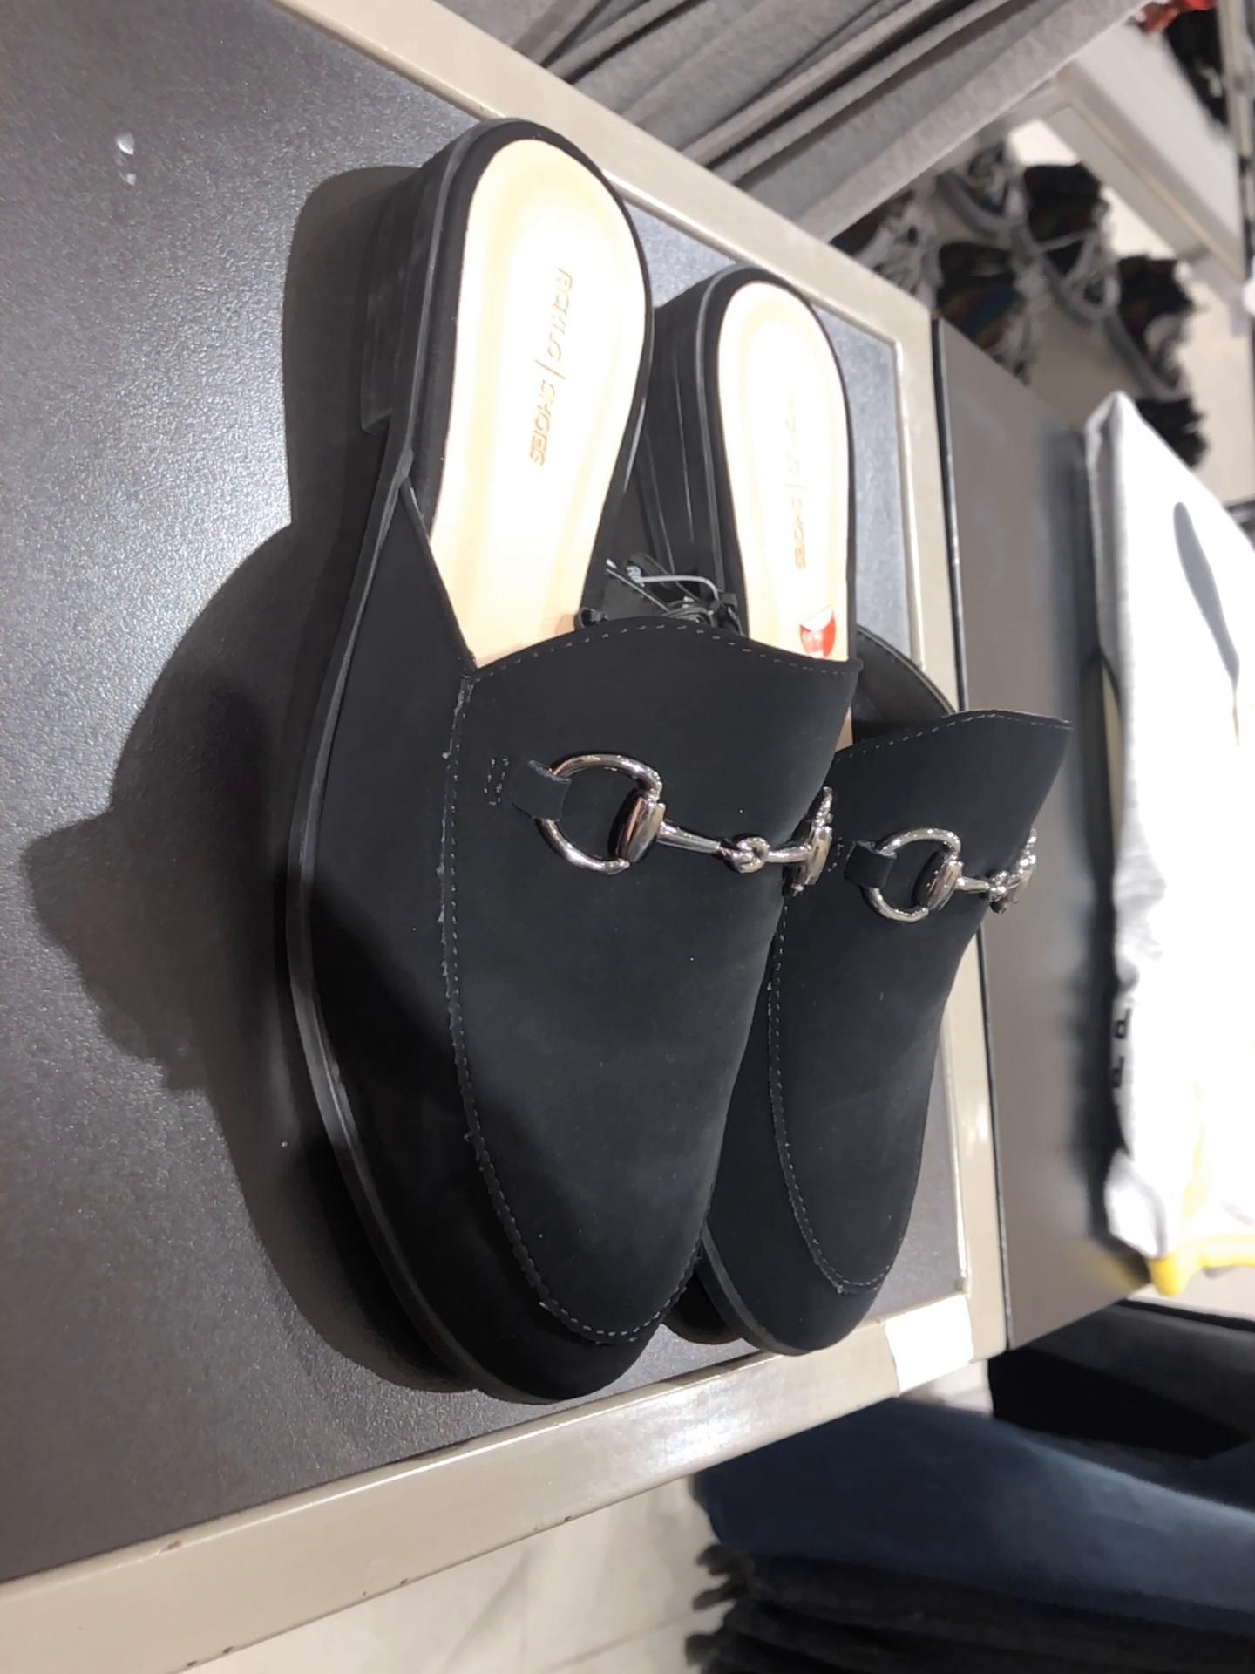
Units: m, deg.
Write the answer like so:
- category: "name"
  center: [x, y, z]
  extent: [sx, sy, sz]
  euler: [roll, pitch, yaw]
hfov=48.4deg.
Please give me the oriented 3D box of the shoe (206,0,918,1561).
- category: "shoe"
  center: [-0.008, -0.012, 0.248]
  extent: [0.091, 0.079, 0.220]
  euler: [5, 84, -45]

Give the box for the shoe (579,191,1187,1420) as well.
- category: "shoe"
  center: [0.055, -0.005, 0.304]
  extent: [0.091, 0.070, 0.220]
  euler: [1, 81, -46]
